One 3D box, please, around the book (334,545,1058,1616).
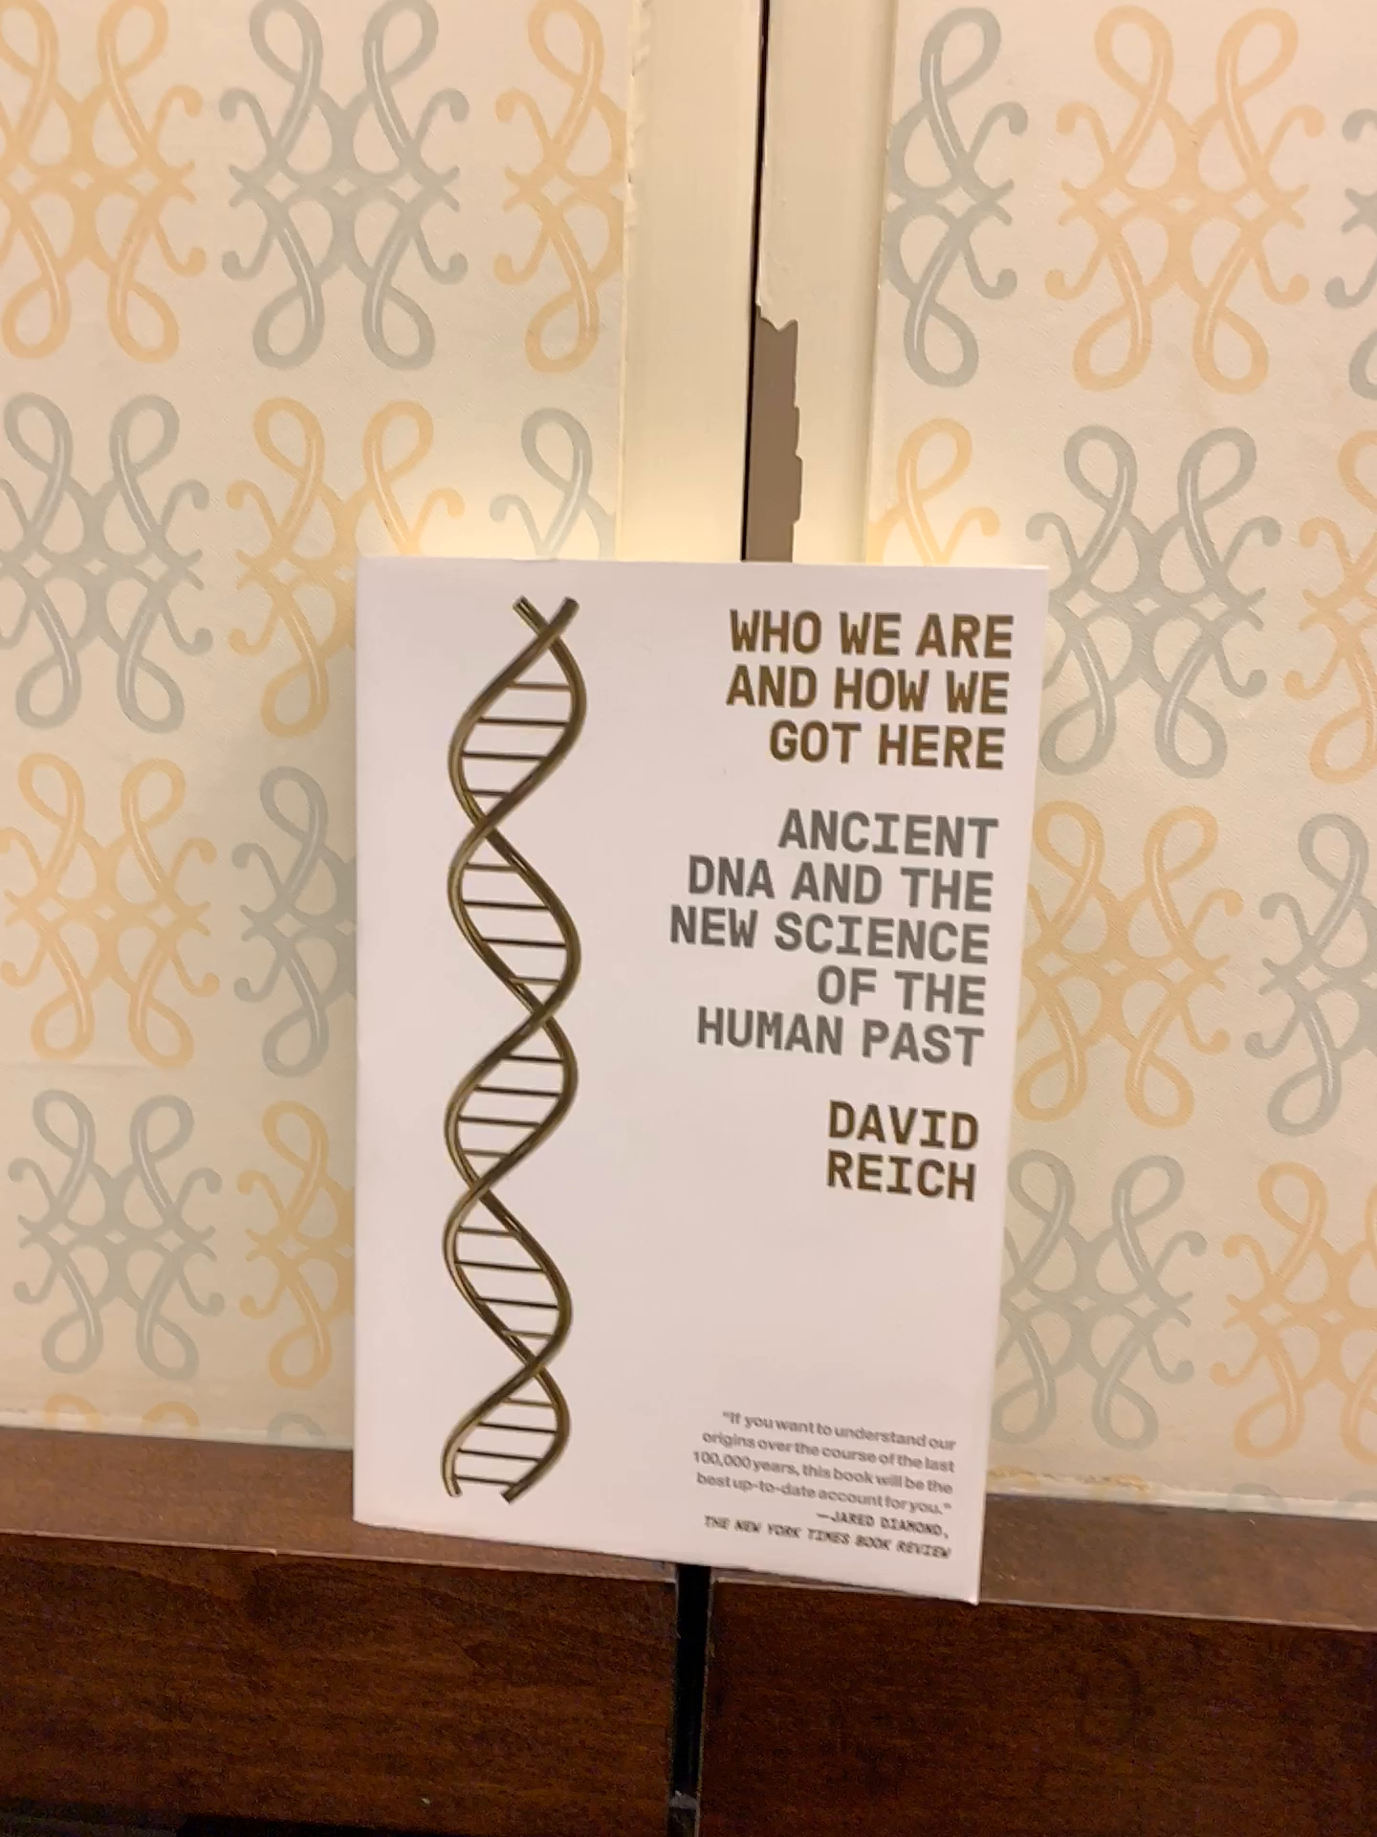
[{"bbox_3d":[-0.002,0.032,0.285,0.127,0.199,0.041,3,9,1],"label":"book"}]
